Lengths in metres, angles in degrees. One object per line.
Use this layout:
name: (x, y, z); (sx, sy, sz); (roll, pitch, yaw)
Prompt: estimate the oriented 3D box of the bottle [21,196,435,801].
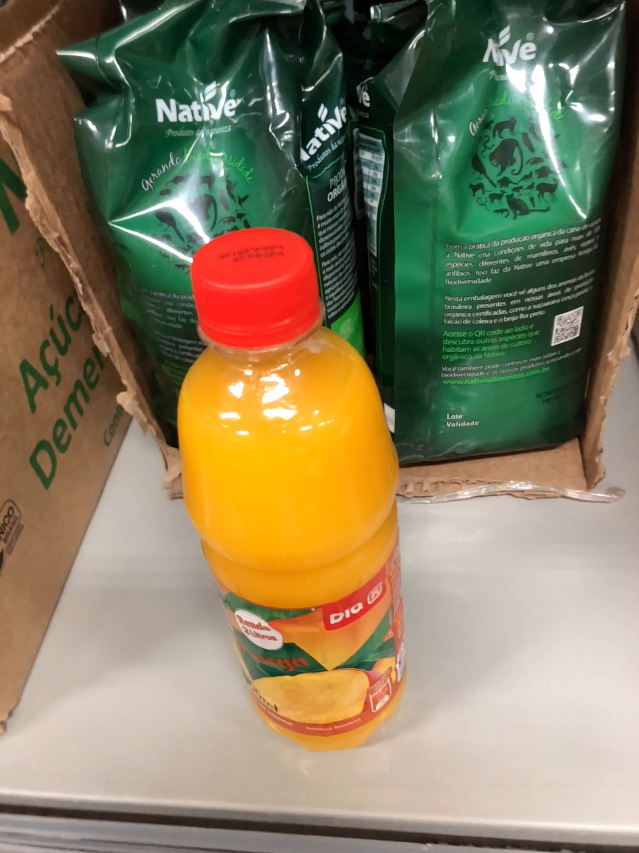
bottle: (-0.008, 0.038, 0.227); (0.070, 0.199, 0.060); (16, 49, 25)
